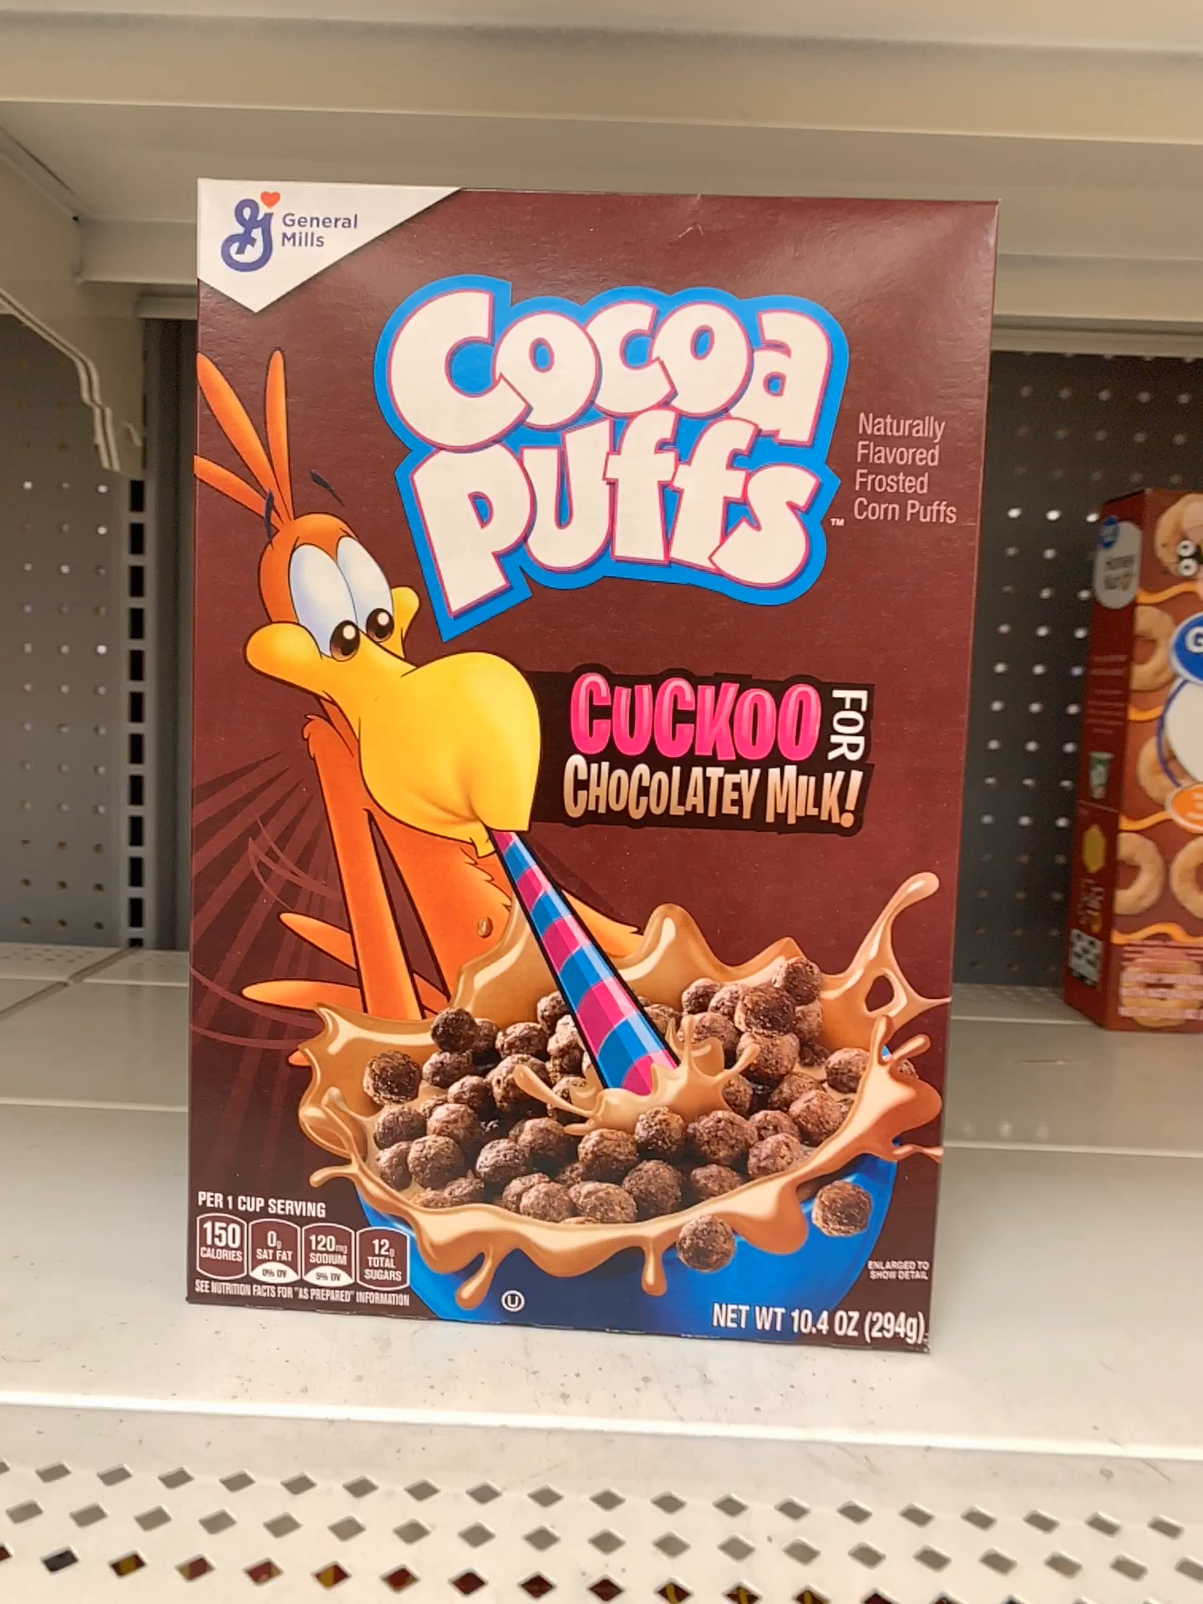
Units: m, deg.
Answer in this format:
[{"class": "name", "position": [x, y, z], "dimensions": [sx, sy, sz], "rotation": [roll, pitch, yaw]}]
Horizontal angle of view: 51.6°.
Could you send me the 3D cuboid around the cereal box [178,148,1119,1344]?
[{"class": "cereal box", "position": [0.006, -0.012, 0.303], "dimensions": [0.200, 0.260, 0.050], "rotation": [2, 5, 3]}]
